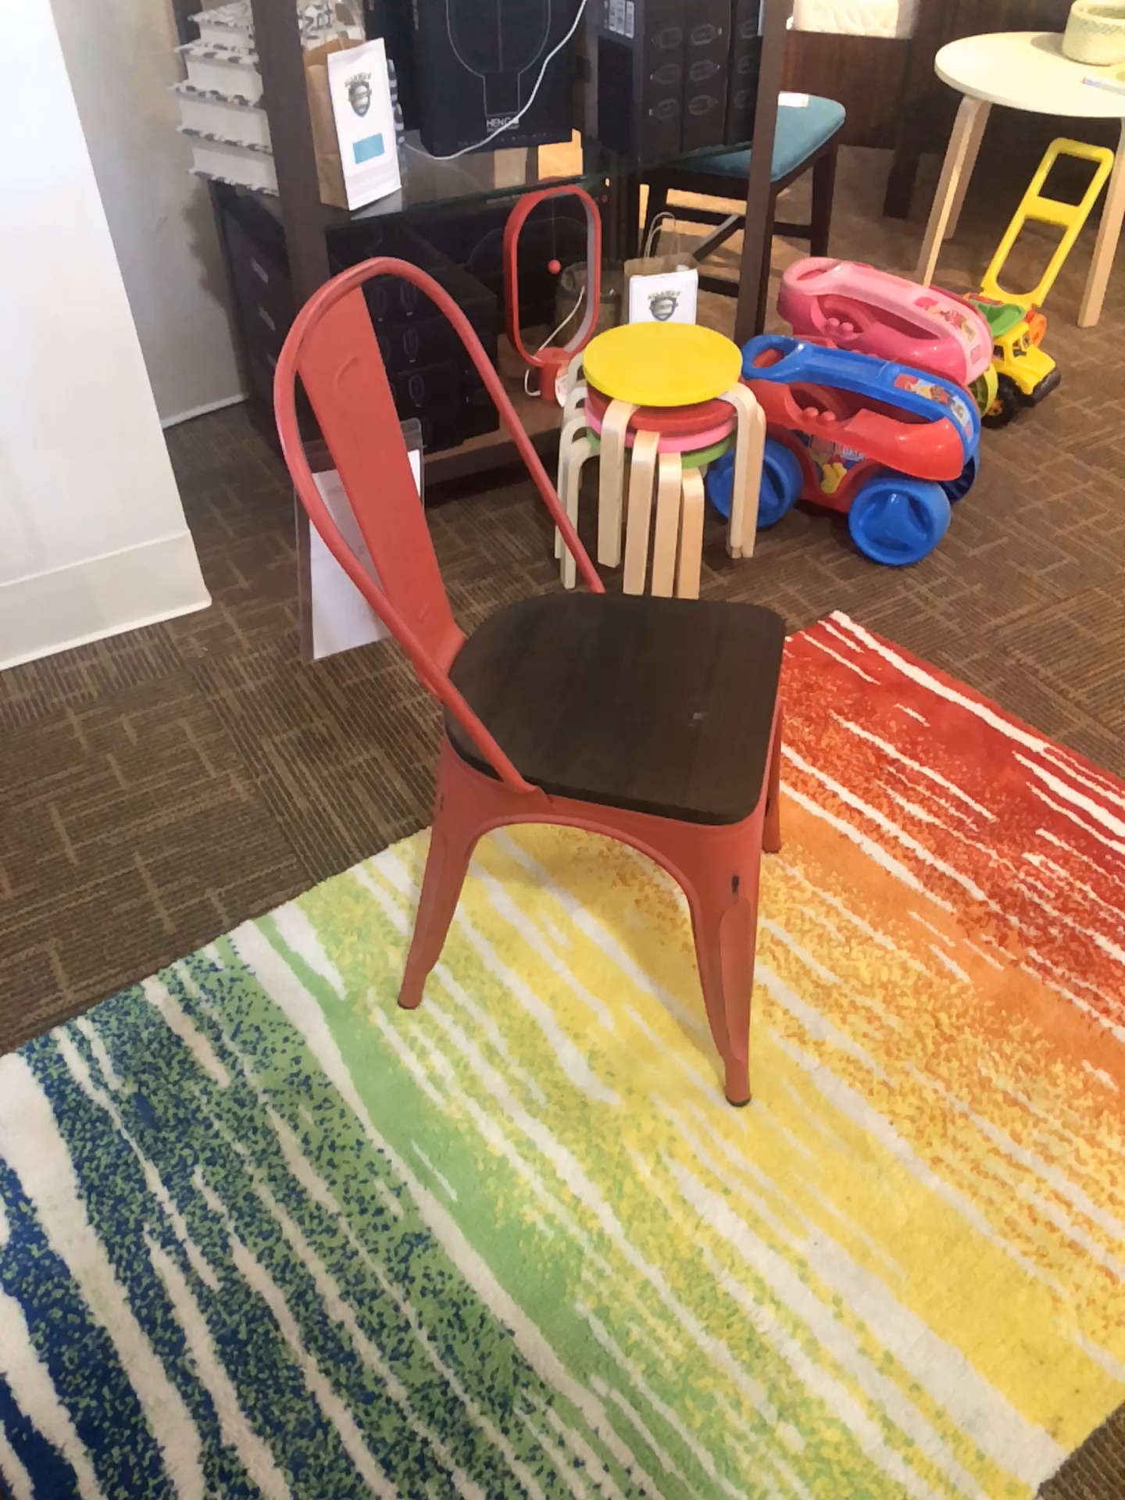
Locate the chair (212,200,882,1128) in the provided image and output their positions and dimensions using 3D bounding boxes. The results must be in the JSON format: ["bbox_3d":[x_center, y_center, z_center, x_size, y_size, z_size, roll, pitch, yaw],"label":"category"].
[{"bbox_3d":[0.026,-0.062,1.334,0.490,0.856,0.452,7,42,9],"label":"chair"}]
